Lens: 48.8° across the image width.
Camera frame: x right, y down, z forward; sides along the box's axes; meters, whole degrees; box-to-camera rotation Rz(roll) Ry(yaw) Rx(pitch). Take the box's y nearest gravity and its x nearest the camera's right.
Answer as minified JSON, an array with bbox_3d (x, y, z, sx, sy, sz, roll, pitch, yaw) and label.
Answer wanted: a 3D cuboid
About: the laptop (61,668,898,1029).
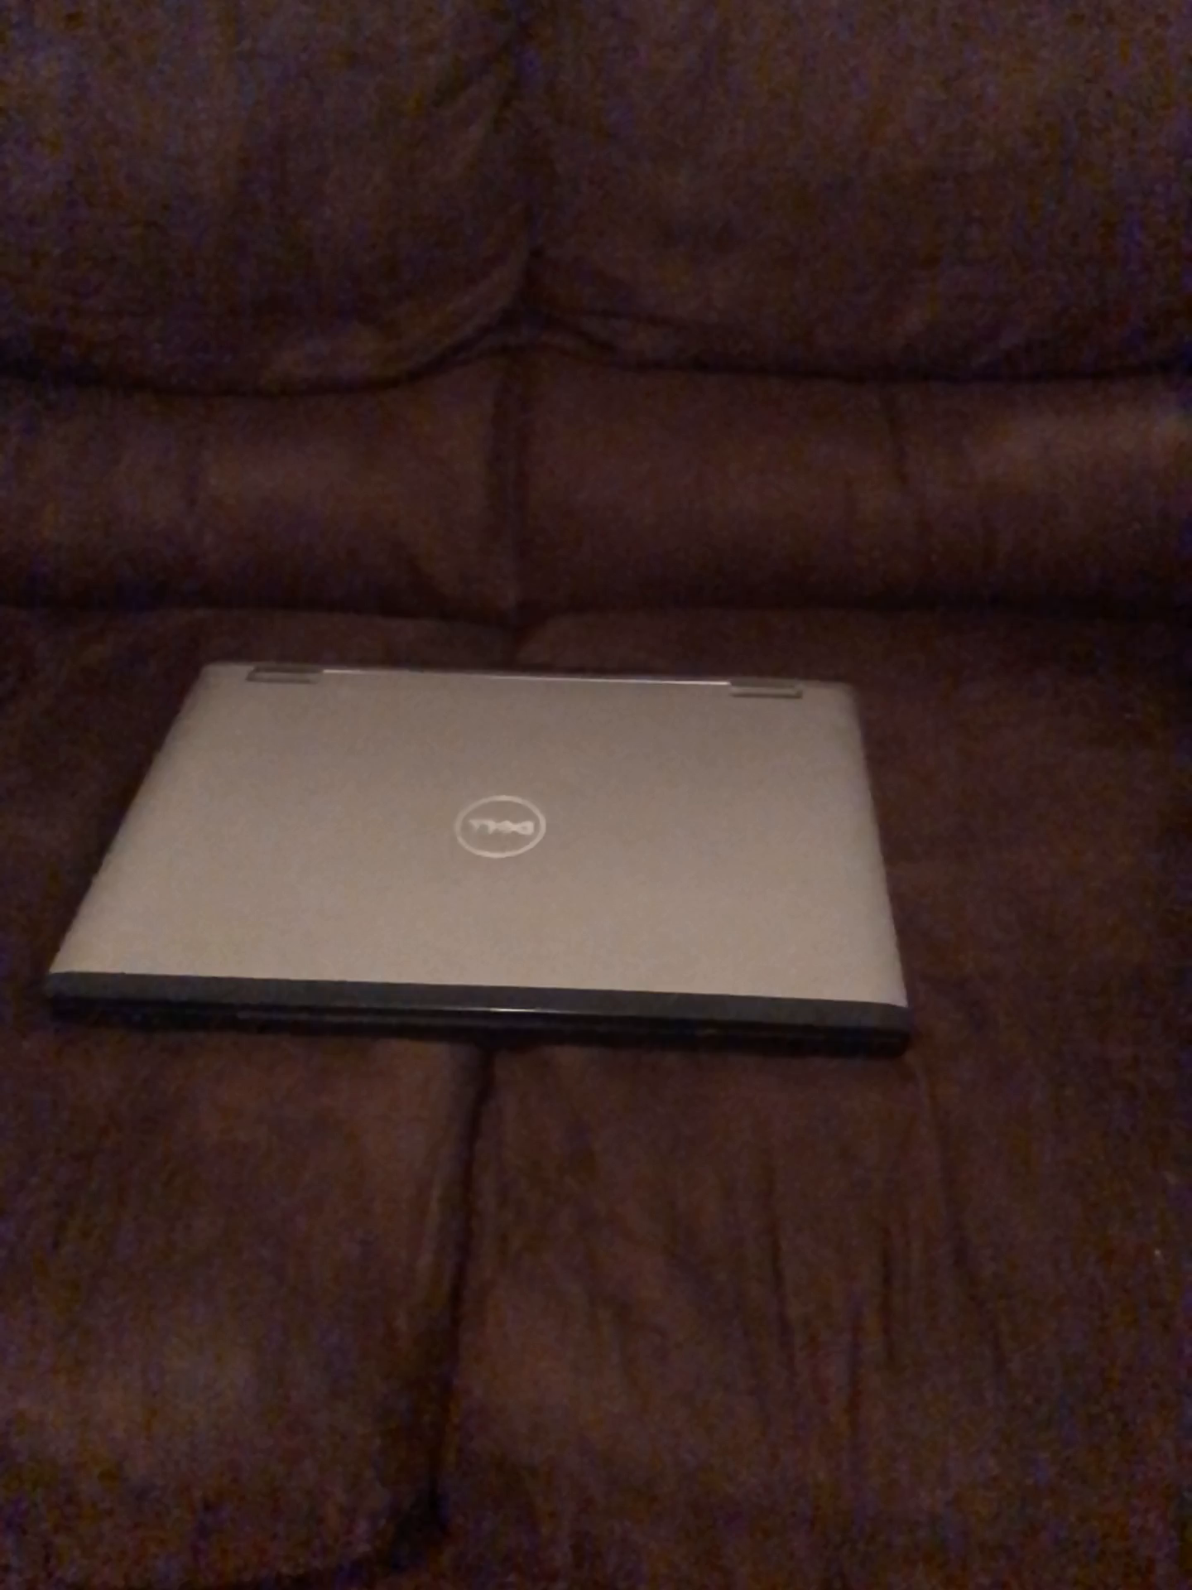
[{"bbox_3d":[-0.048,0.013,0.681,0.369,0.002,0.261,2,39,1],"label":"laptop"}]
